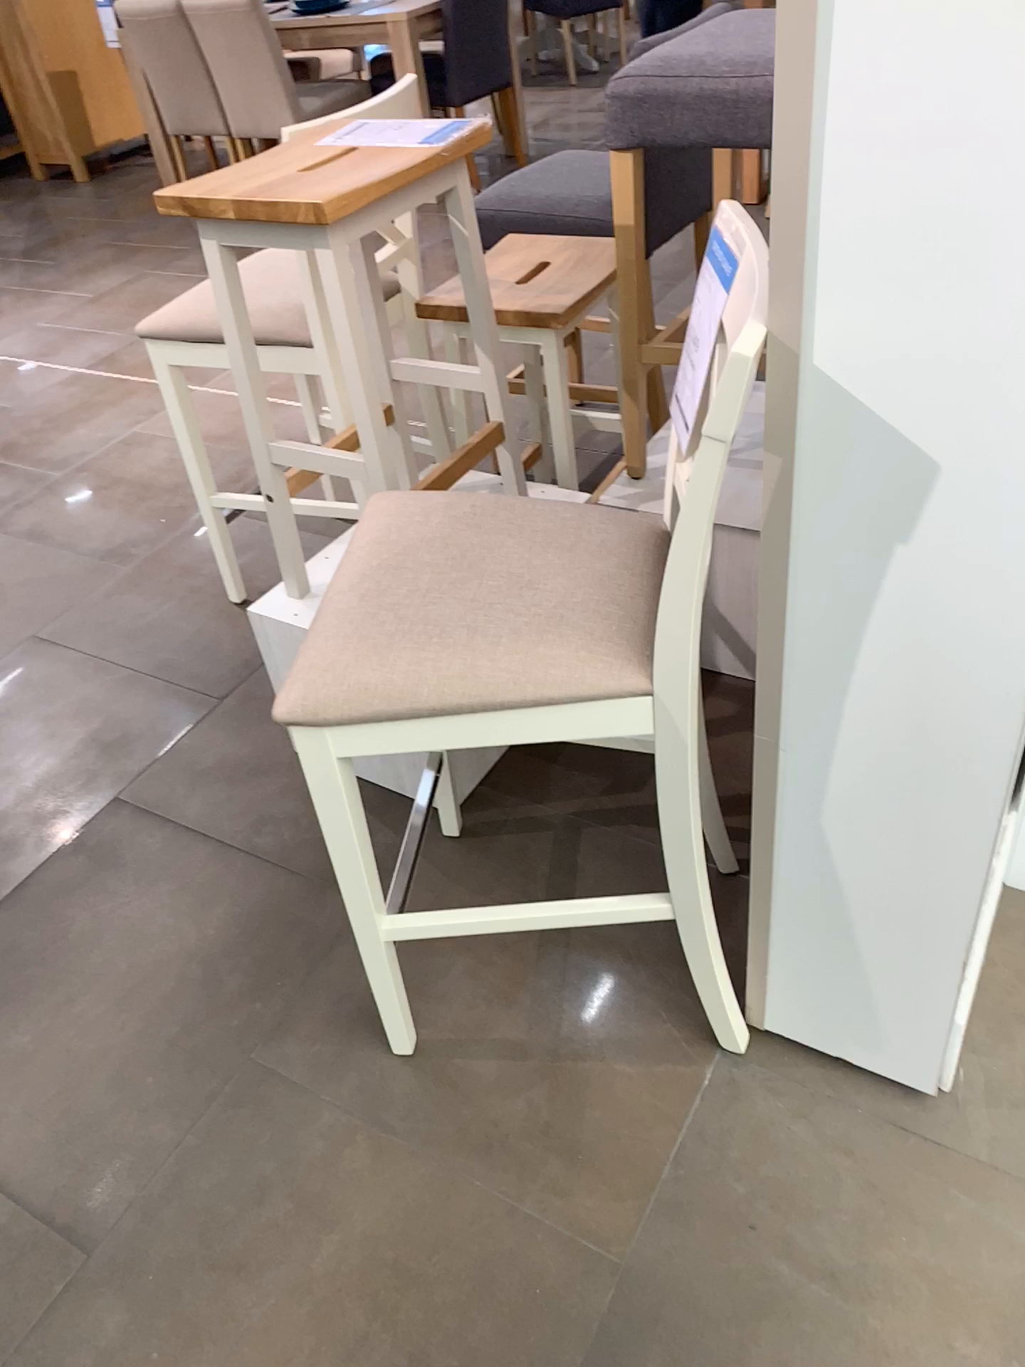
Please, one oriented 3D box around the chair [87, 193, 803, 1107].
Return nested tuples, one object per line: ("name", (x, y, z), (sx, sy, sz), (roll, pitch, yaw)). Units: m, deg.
("chair", (0.024, 0.013, 1.218), (0.537, 0.938, 0.453), (0, 39, 11))
